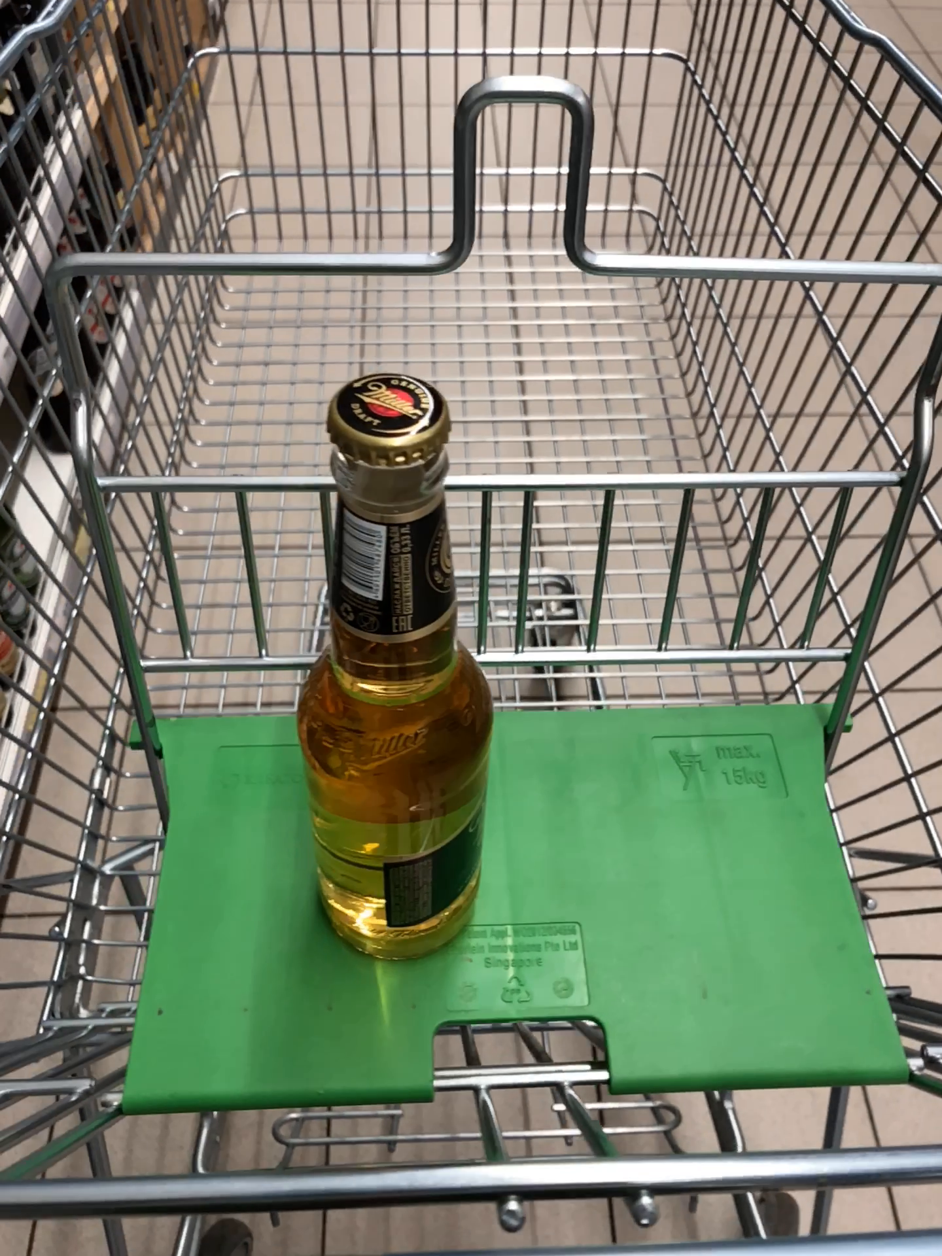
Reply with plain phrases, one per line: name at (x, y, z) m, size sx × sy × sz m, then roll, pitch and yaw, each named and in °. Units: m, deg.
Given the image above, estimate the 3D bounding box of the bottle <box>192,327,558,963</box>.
bottle at (-0.019, 0.023, 0.303) m, size 0.070 × 0.209 × 0.070 m, roll 1°, pitch 52°, yaw -1°
